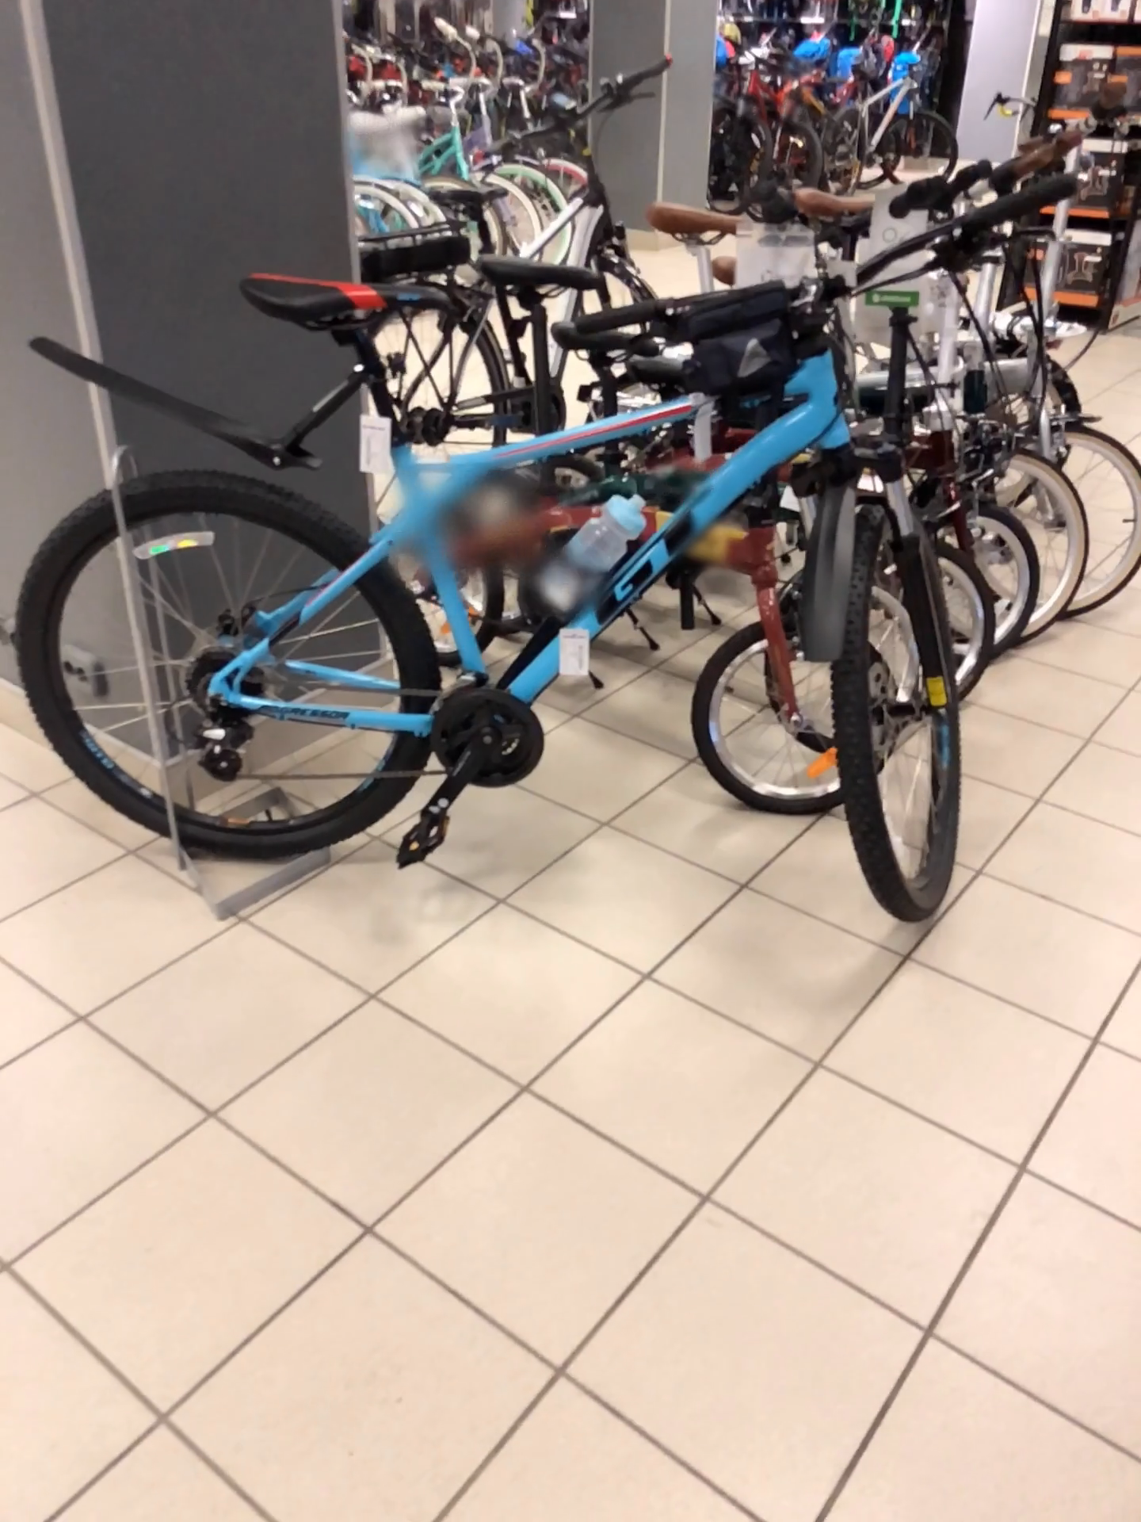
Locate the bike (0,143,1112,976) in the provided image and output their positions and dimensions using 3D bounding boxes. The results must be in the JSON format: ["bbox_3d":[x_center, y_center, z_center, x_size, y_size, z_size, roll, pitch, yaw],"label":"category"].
[{"bbox_3d":[-0.099,-0.361,2.058,1.610,1.084,0.695,-3,30,-10],"label":"bike"}]
